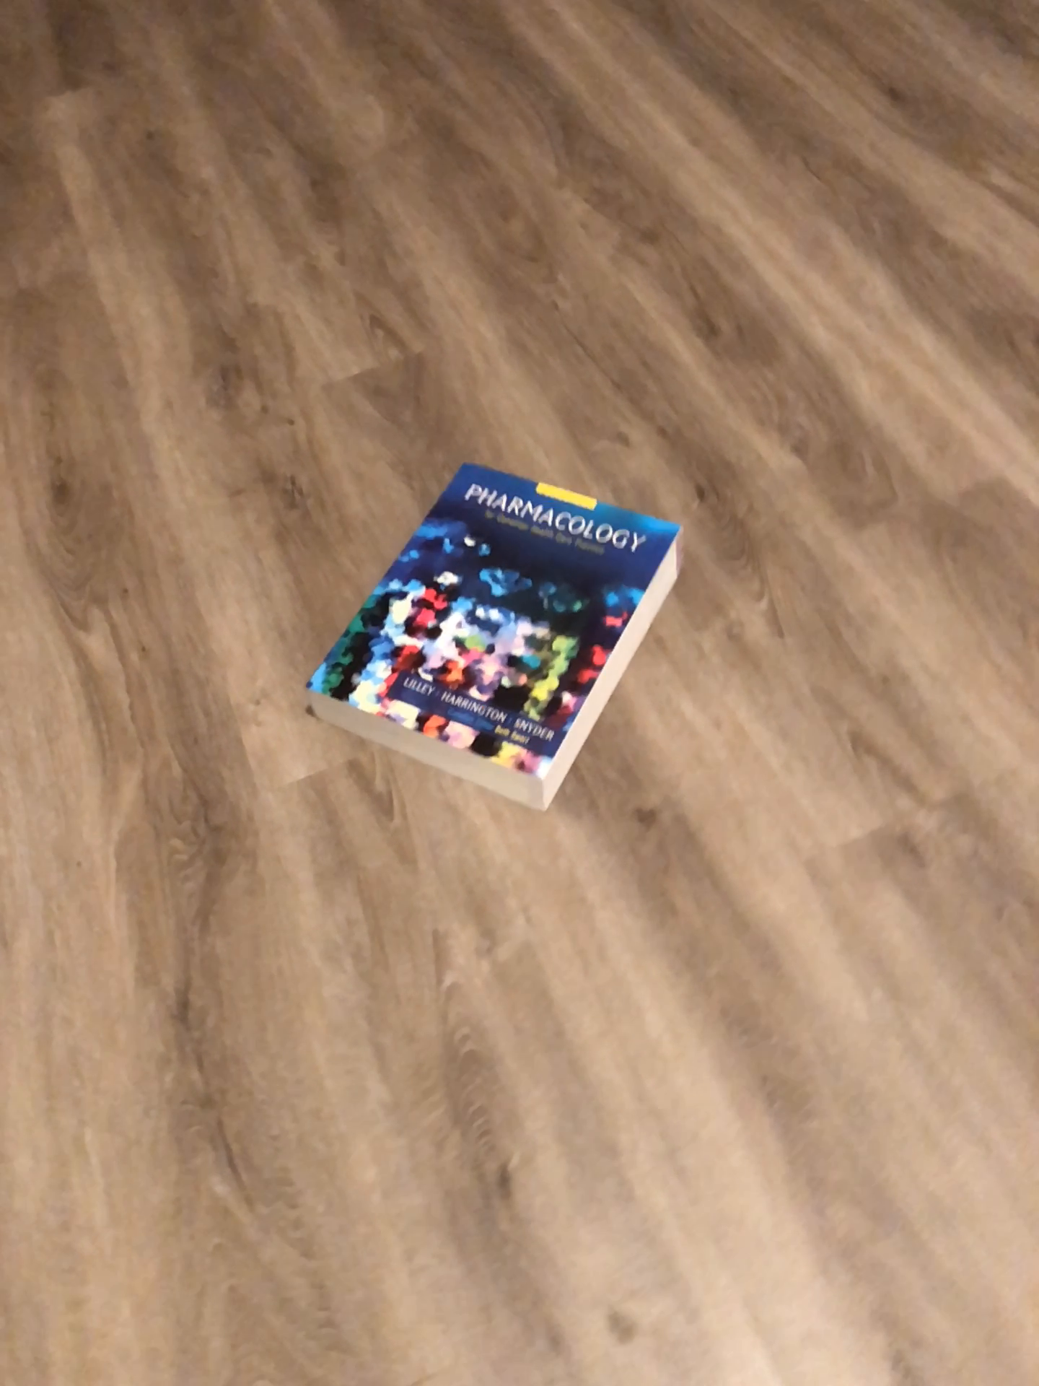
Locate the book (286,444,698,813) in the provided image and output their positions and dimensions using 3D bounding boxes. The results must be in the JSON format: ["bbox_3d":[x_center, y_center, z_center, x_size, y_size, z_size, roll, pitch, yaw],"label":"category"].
[{"bbox_3d":[-0.014,-0.066,0.929,0.228,0.046,0.278,20,59,19],"label":"book"}]
